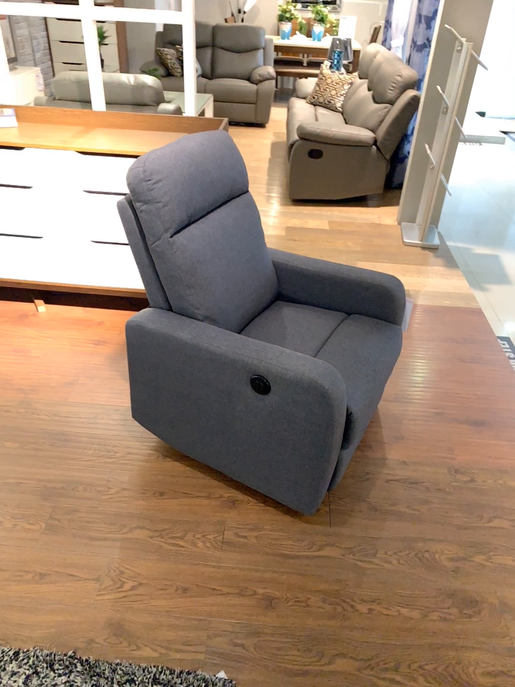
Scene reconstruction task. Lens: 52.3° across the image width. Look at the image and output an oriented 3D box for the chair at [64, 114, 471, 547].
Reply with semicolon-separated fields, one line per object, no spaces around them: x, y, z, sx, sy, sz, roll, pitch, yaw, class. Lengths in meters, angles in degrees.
0.084;-0.139;1.814;0.881;0.966;0.933;18;37;21;chair
